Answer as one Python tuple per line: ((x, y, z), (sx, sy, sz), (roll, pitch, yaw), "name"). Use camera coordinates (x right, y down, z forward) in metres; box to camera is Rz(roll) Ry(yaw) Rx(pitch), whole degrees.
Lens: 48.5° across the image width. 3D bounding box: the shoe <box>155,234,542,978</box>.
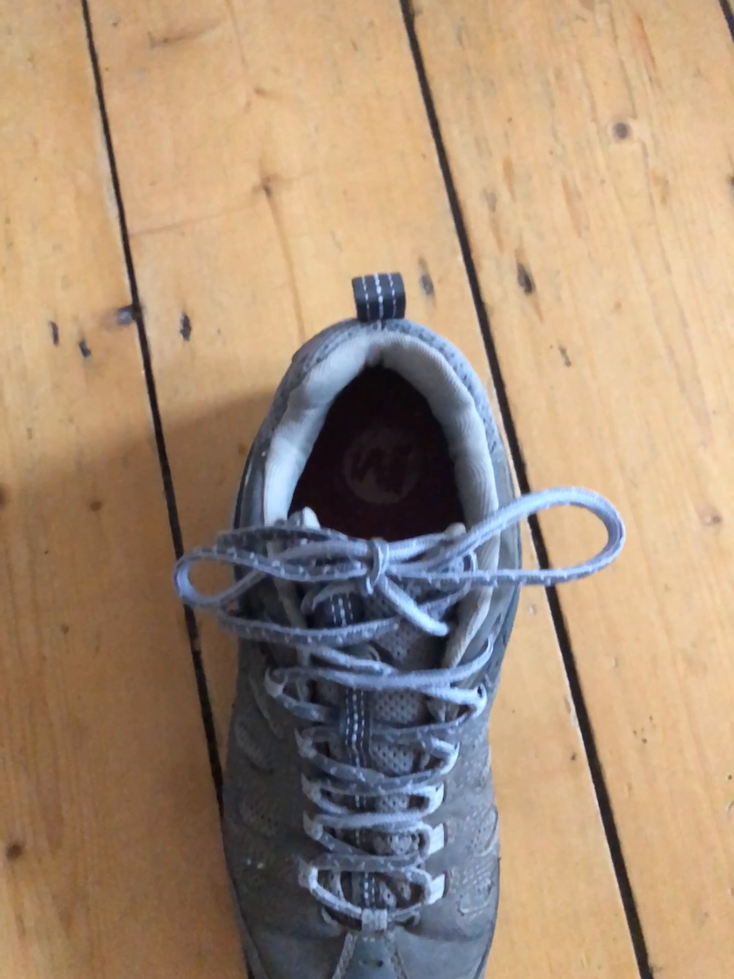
((0.000, 0.067, 0.287), (0.100, 0.110, 0.280), (1, 81, 2), "shoe")
